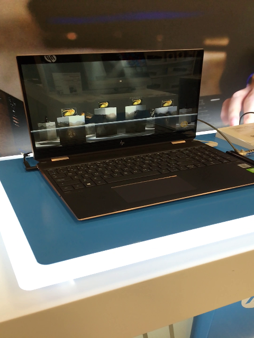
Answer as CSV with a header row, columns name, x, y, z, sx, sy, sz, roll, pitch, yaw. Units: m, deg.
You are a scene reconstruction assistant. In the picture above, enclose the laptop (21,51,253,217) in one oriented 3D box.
name,x,y,z,sx,sy,sz,roll,pitch,yaw
laptop,0.044,-0.096,0.612,0.380,0.211,0.263,-11,29,-22
